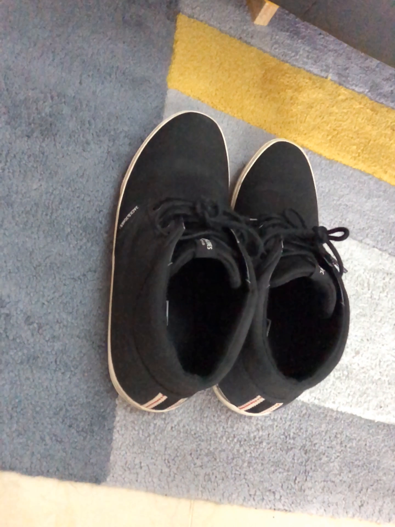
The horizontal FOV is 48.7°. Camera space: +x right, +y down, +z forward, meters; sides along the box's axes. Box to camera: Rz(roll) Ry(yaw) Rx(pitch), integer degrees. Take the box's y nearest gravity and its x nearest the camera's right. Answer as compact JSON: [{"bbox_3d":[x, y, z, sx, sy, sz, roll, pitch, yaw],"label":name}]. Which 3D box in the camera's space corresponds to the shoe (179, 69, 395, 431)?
[{"bbox_3d":[0.082,-0.007,0.395,0.110,0.129,0.281,19,64,-17],"label":"shoe"}]

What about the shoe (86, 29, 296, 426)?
[{"bbox_3d":[-0.001,-0.025,0.351,0.110,0.109,0.281,13,65,-19],"label":"shoe"}]
